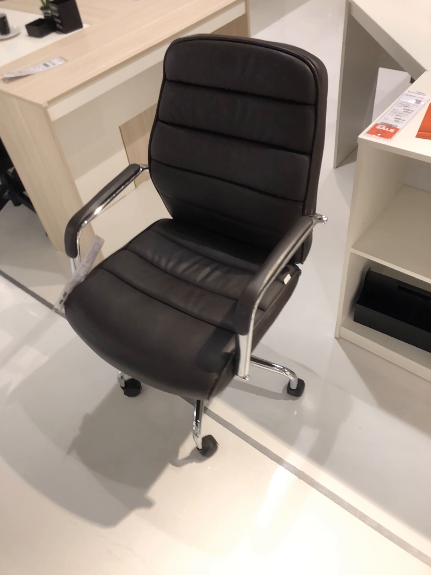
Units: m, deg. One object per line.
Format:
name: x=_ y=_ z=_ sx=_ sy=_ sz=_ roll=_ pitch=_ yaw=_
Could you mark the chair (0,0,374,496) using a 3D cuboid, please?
chair: x=-0.087 y=-0.079 z=1.207 sx=0.652 sy=0.973 sz=0.573 roll=23 pitch=54 yaw=27
